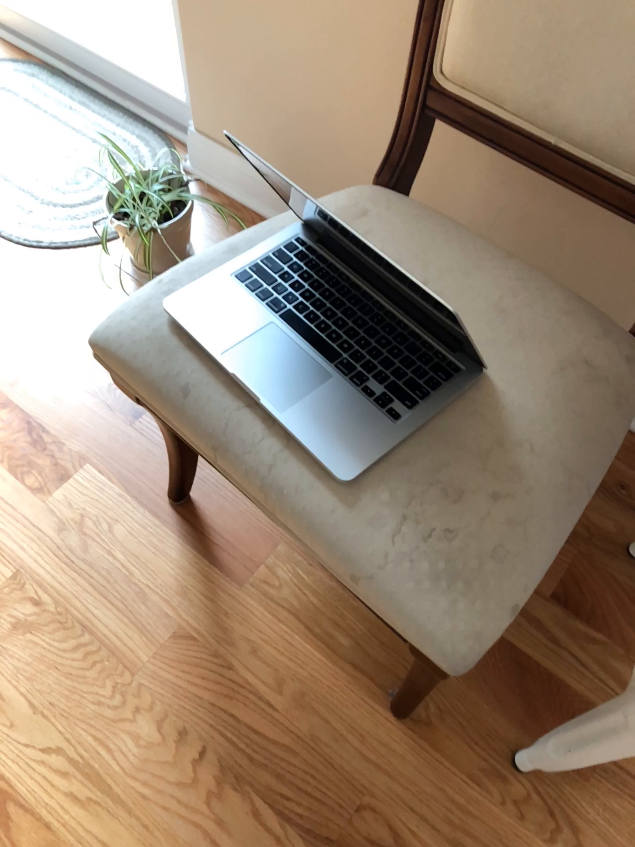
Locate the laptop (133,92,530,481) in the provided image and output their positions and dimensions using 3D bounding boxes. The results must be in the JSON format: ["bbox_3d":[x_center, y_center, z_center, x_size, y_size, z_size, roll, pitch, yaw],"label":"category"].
[{"bbox_3d":[0.007,-0.149,0.721,0.218,0.183,0.309,-36,65,-24],"label":"laptop"}]
